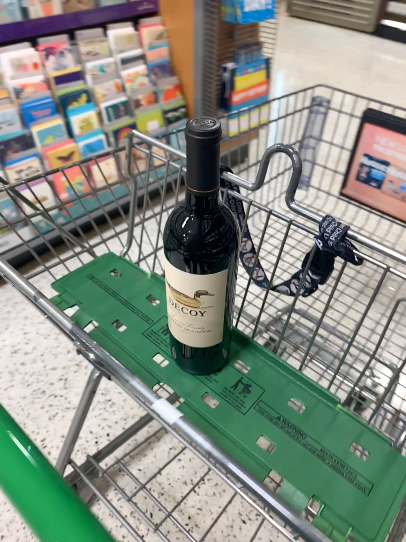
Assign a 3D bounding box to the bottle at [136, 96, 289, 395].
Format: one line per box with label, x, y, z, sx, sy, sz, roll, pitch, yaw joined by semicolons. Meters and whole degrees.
bottle;0.007;-0.007;0.436;0.090;0.297;0.091;1;43;-1
